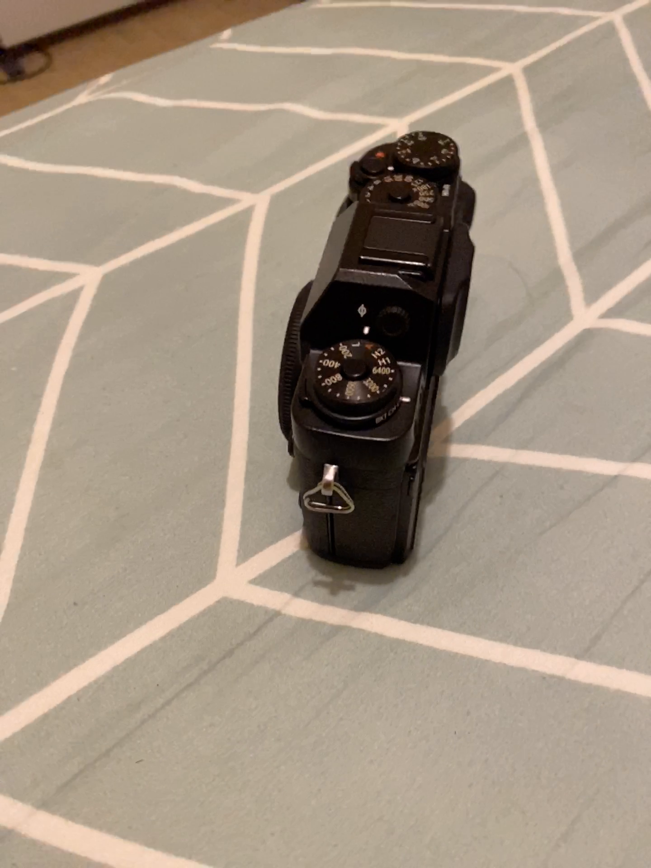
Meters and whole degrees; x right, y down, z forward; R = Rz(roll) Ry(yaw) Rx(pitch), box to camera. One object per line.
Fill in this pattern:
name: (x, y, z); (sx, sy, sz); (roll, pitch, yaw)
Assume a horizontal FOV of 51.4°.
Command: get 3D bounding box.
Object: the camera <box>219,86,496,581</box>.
camera: (0.017, -0.035, 0.219); (0.051, 0.087, 0.131); (9, 55, 9)
